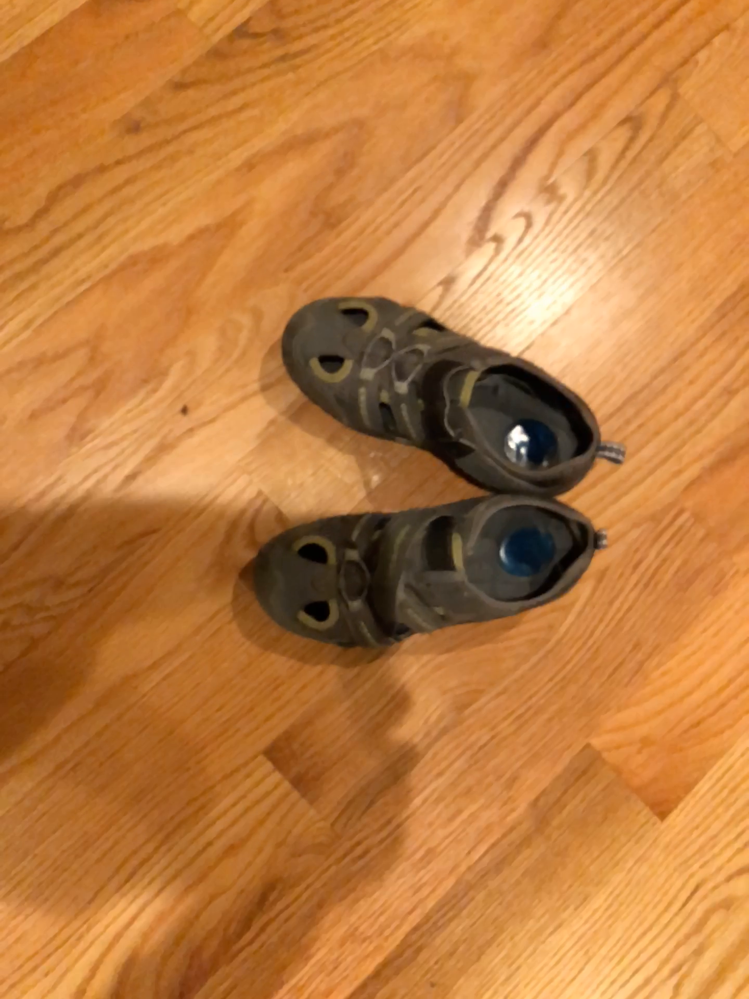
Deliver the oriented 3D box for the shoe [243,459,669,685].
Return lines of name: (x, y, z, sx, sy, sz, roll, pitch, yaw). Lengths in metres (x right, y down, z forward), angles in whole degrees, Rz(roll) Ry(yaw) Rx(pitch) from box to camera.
shoe: (0.044, 0.046, 0.548, 0.245, 0.113, 0.100, -7, 85, -8)

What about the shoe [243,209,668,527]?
shoe: (0.046, -0.078, 0.563, 0.245, 0.113, 0.100, 22, 82, -5)
